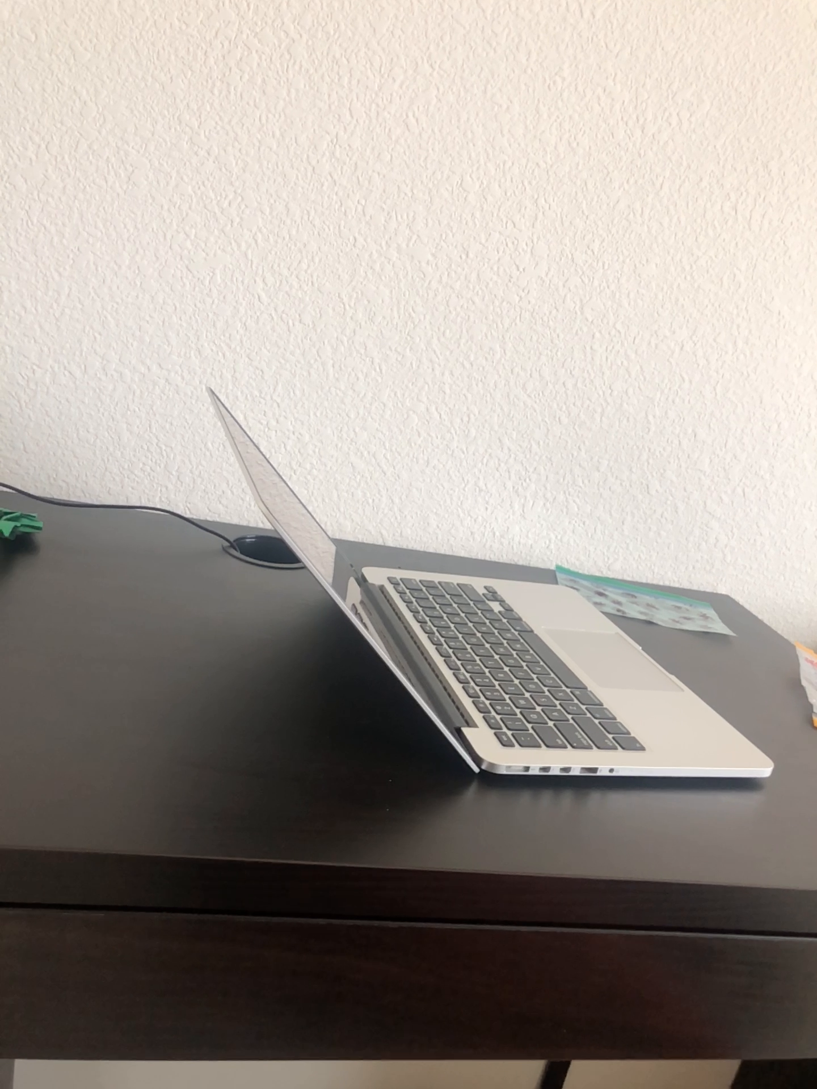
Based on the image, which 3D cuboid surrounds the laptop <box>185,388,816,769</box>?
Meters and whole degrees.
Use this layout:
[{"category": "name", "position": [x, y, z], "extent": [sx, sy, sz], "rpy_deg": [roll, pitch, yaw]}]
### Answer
[{"category": "laptop", "position": [0.043, 0.012, 0.653], "extent": [0.362, 0.133, 0.309], "rpy_deg": [6, 18, -19]}]
